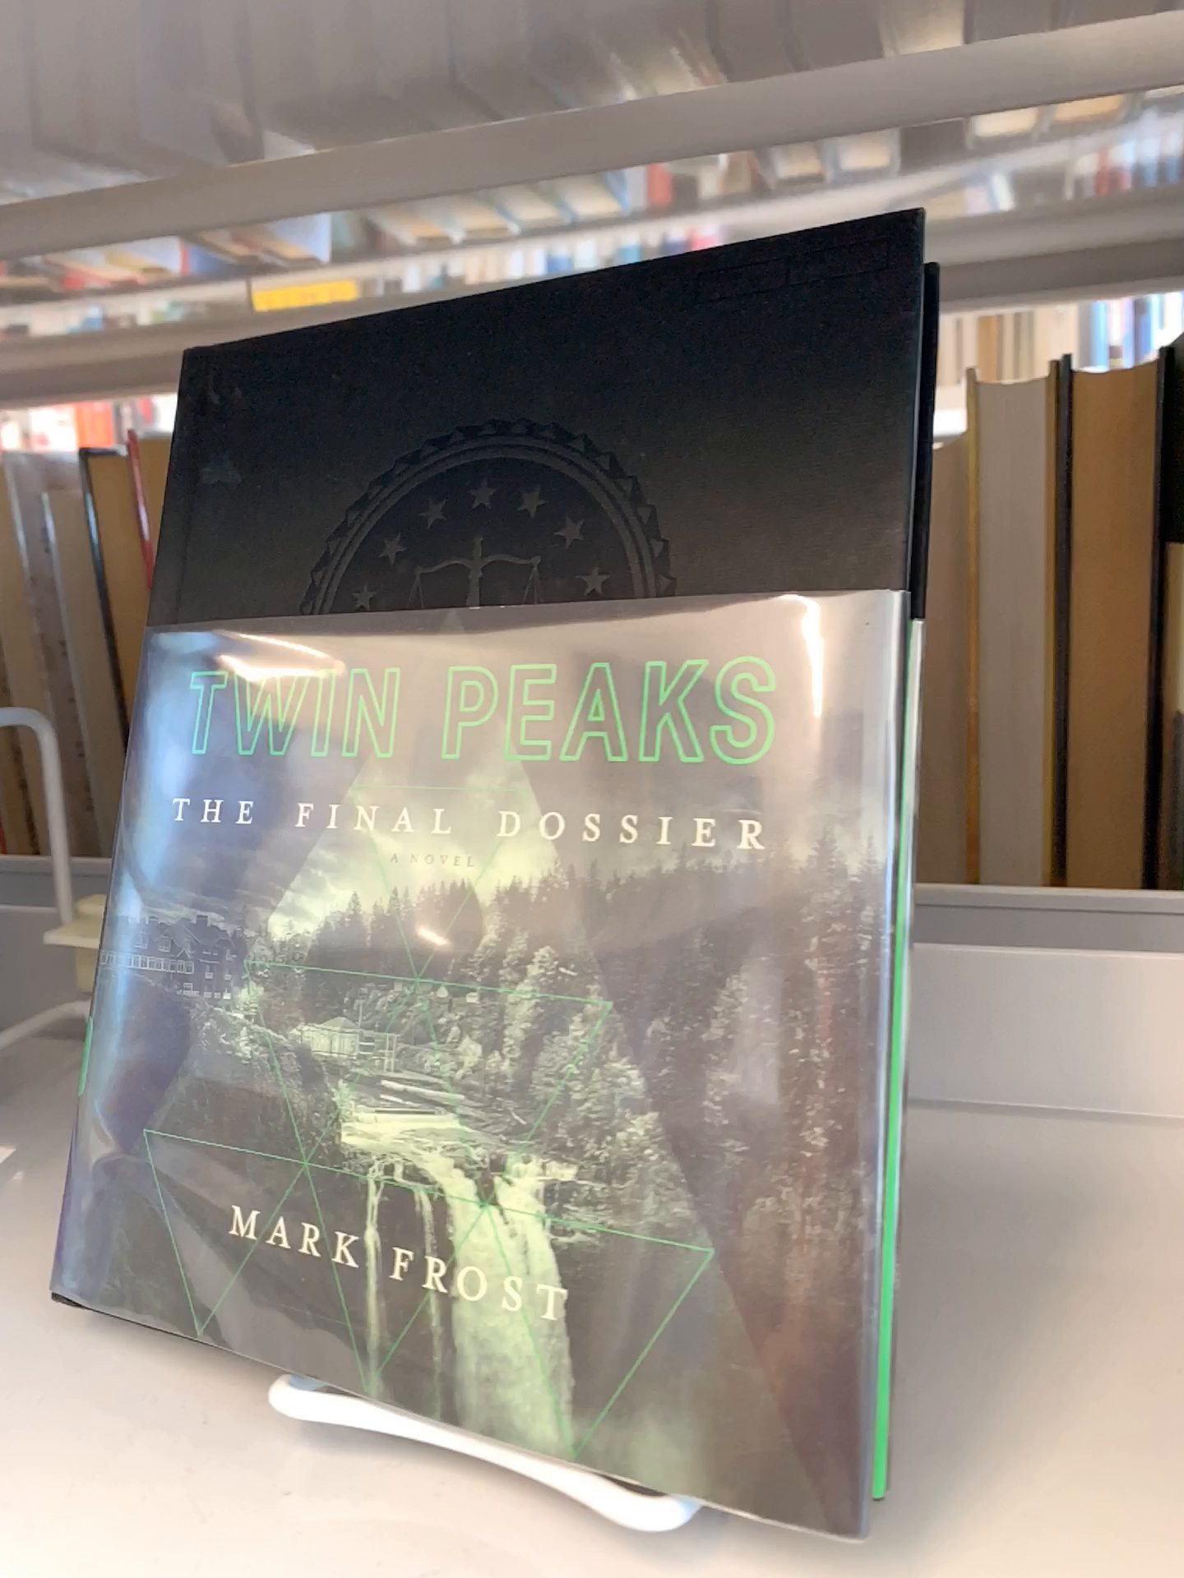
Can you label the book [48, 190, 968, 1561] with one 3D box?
[{"bbox_3d":[-0.027,0.006,0.257,0.190,0.228,0.020,2,-7,28],"label":"book"}]
